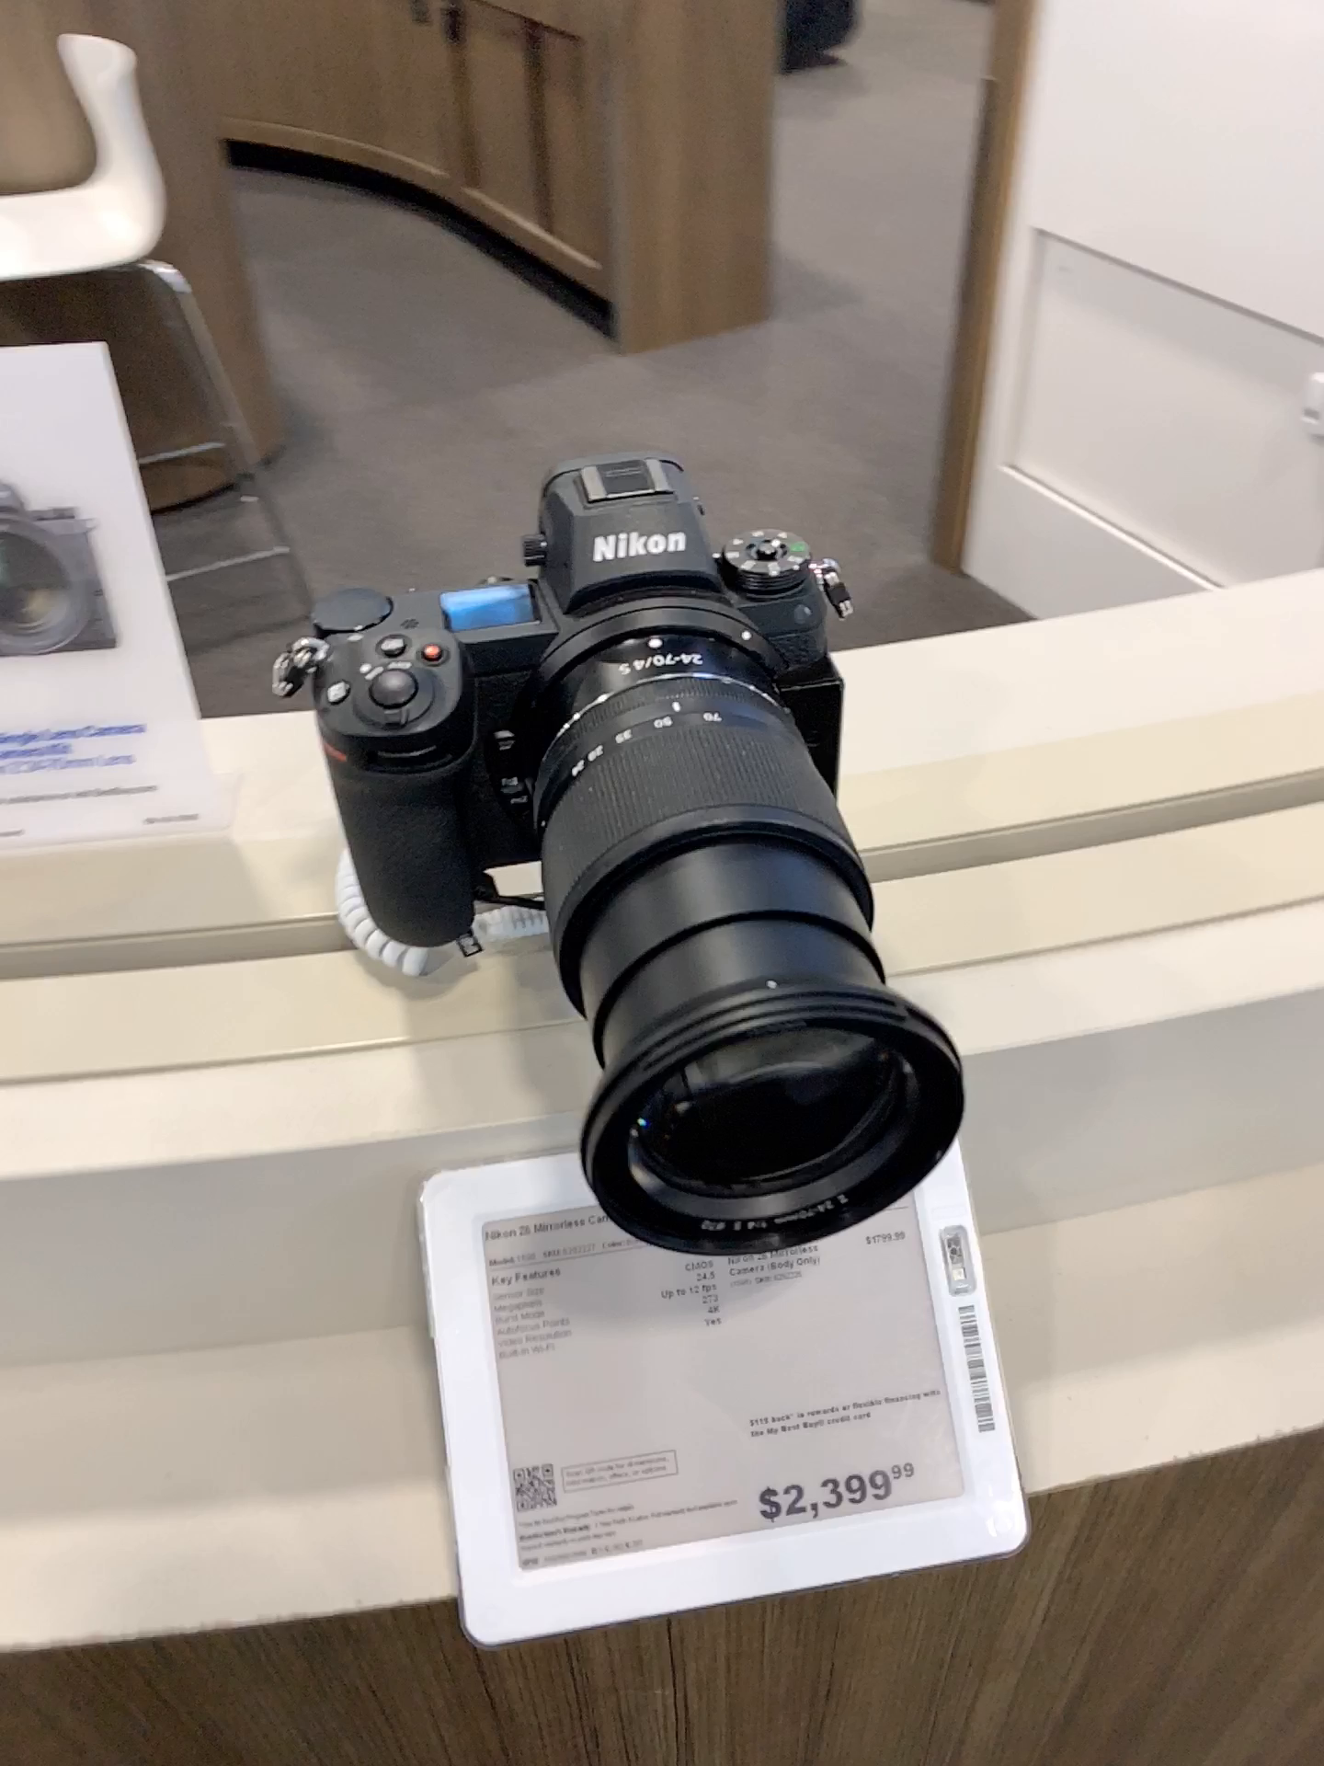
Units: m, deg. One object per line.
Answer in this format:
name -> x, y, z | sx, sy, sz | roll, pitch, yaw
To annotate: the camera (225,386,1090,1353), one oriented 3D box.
camera -> -0.016, -0.021, 0.327 | 0.140, 0.099, 0.211 | -9, 43, -6
